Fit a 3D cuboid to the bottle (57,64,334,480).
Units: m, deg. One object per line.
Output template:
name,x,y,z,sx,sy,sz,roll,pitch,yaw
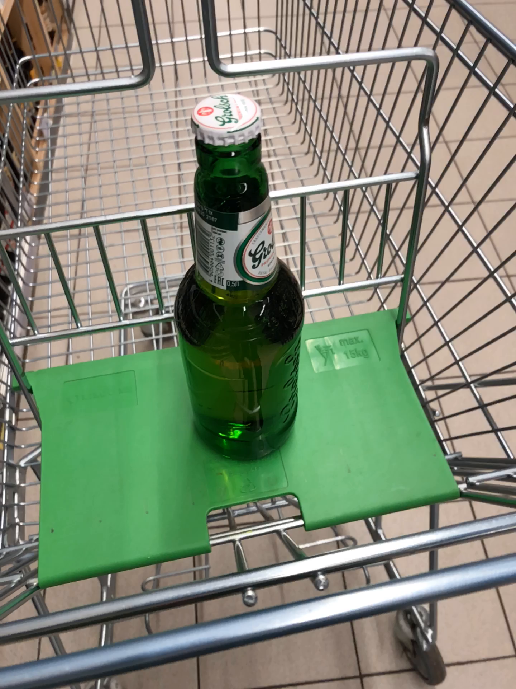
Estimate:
bottle,-0.019,-0.016,0.305,0.080,0.219,0.080,0,56,1
